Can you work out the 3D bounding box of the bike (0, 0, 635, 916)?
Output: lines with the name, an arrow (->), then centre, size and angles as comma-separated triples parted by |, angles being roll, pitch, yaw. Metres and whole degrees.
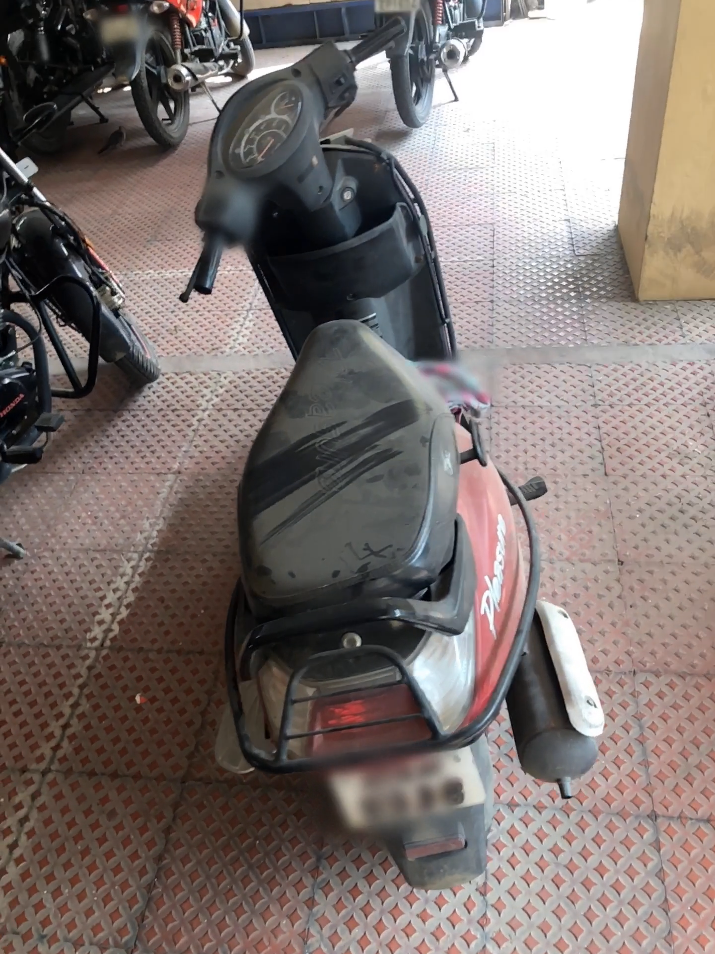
bike -> -0.131, -0.212, 1.596 | 0.599, 1.030, 1.660 | -10, 41, -1
